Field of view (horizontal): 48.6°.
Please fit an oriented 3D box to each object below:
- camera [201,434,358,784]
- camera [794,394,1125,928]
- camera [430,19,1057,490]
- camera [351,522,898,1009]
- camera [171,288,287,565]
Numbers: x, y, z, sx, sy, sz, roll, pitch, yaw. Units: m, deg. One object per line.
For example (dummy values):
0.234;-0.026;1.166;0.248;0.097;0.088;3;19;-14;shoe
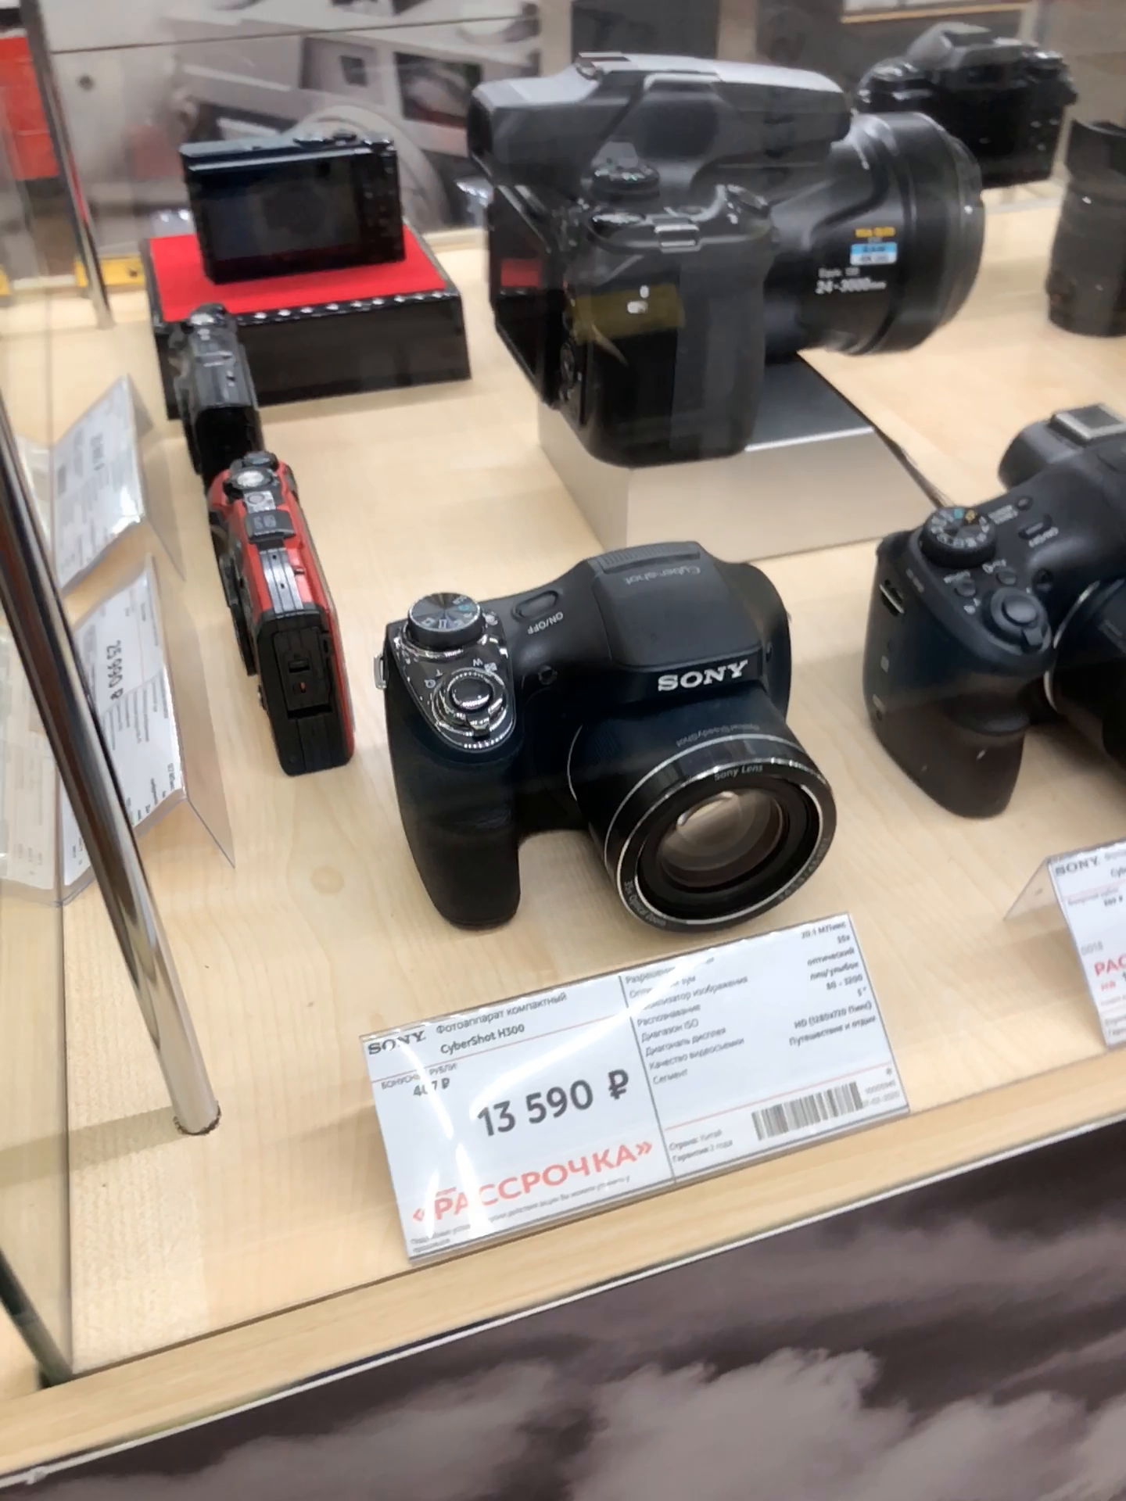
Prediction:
-0.099;-0.052;0.430;0.026;0.069;0.112;-13;42;-14;camera
0.162;-0.035;0.399;0.124;0.097;0.125;-11;41;-12;camera
0.054;-0.185;0.450;0.168;0.106;0.132;-13;41;-14;camera
0.012;0.000;0.359;0.124;0.078;0.092;-11;41;-12;camera
-0.139;-0.137;0.517;0.026;0.069;0.112;-11;41;-12;camera
